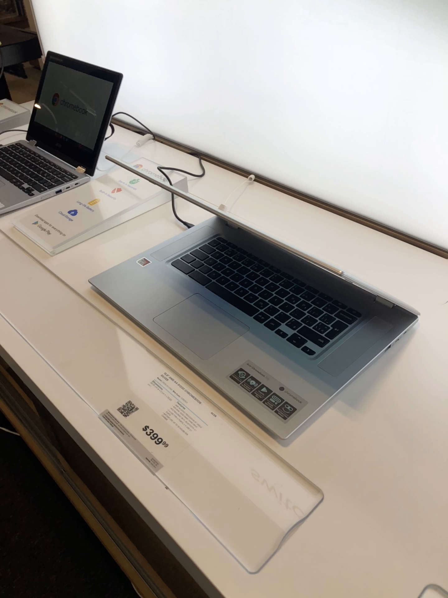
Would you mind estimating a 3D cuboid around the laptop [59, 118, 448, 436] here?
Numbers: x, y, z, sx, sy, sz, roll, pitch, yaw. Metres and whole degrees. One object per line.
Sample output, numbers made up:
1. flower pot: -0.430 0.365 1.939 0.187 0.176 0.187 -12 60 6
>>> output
1. laptop: 0.020 -0.067 0.605 0.255 0.166 0.369 -31 46 -31
